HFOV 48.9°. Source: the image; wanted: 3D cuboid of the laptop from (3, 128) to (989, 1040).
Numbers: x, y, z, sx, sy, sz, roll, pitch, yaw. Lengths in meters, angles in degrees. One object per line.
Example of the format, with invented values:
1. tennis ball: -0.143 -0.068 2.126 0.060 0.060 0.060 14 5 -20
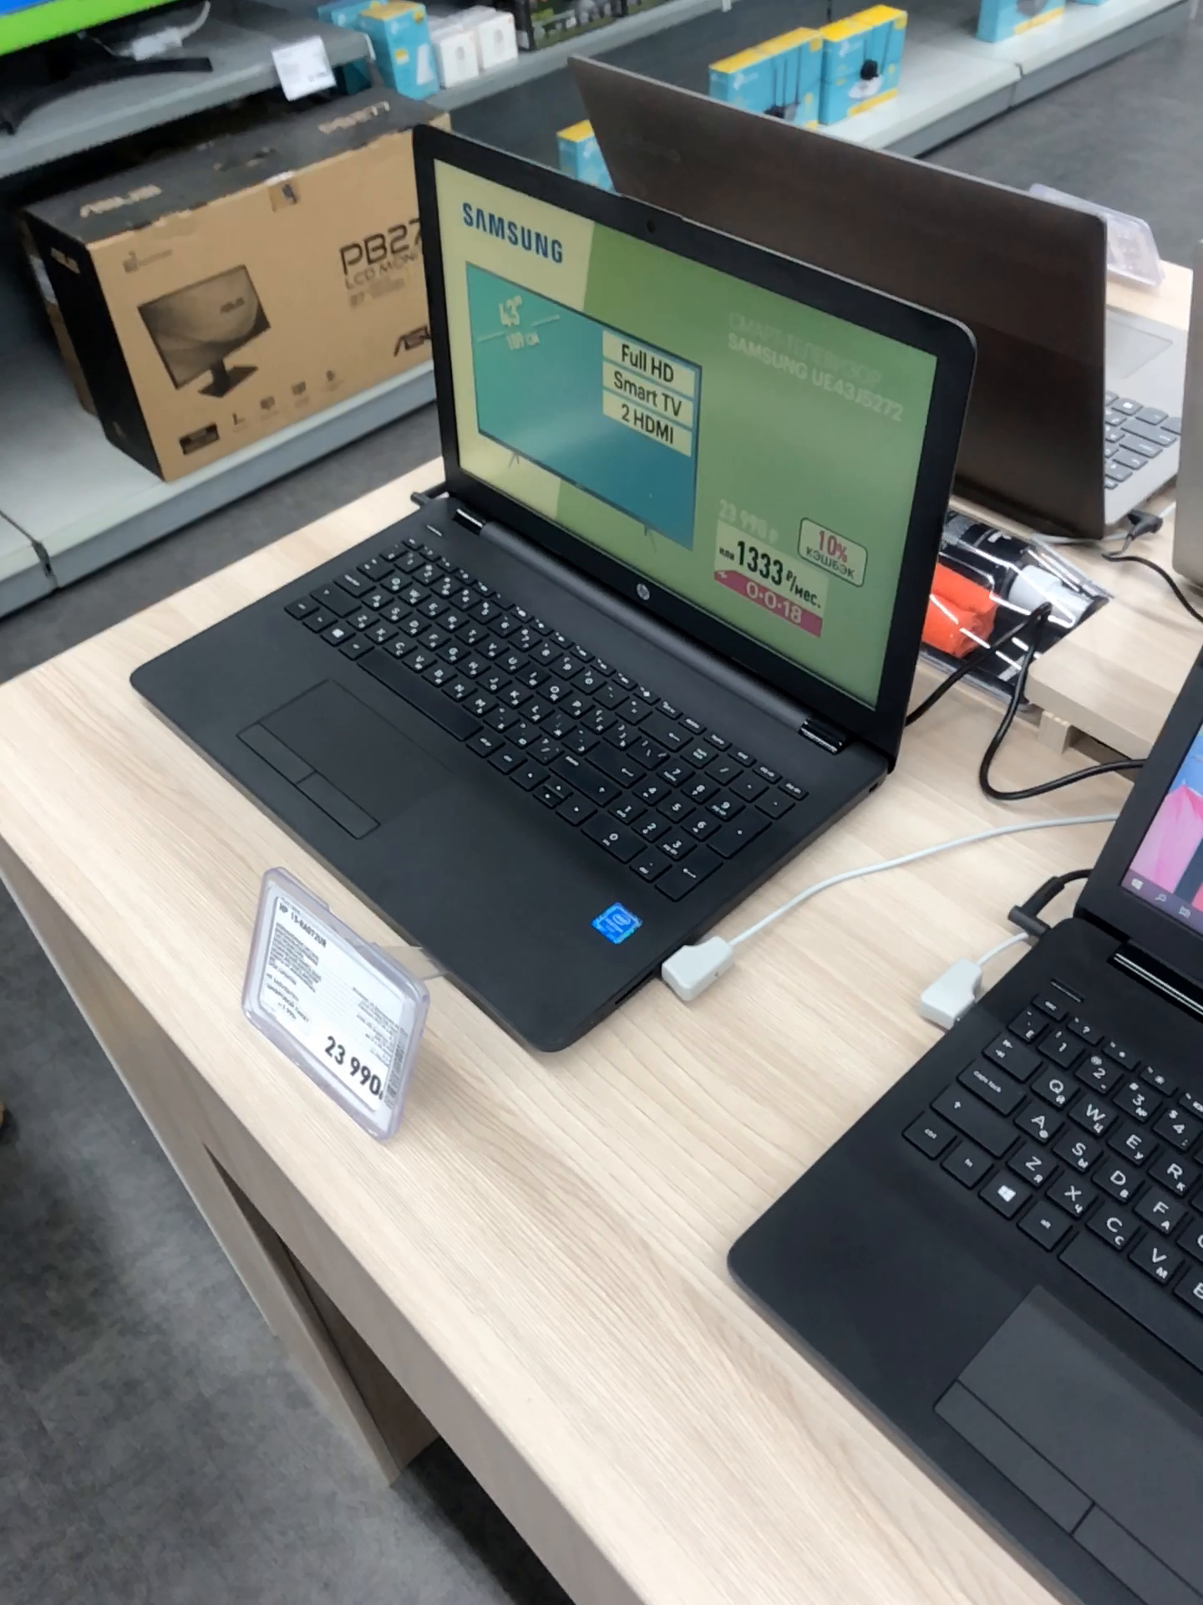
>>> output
1. laptop: -0.058 -0.137 0.663 0.274 0.222 0.363 -35 53 -27
